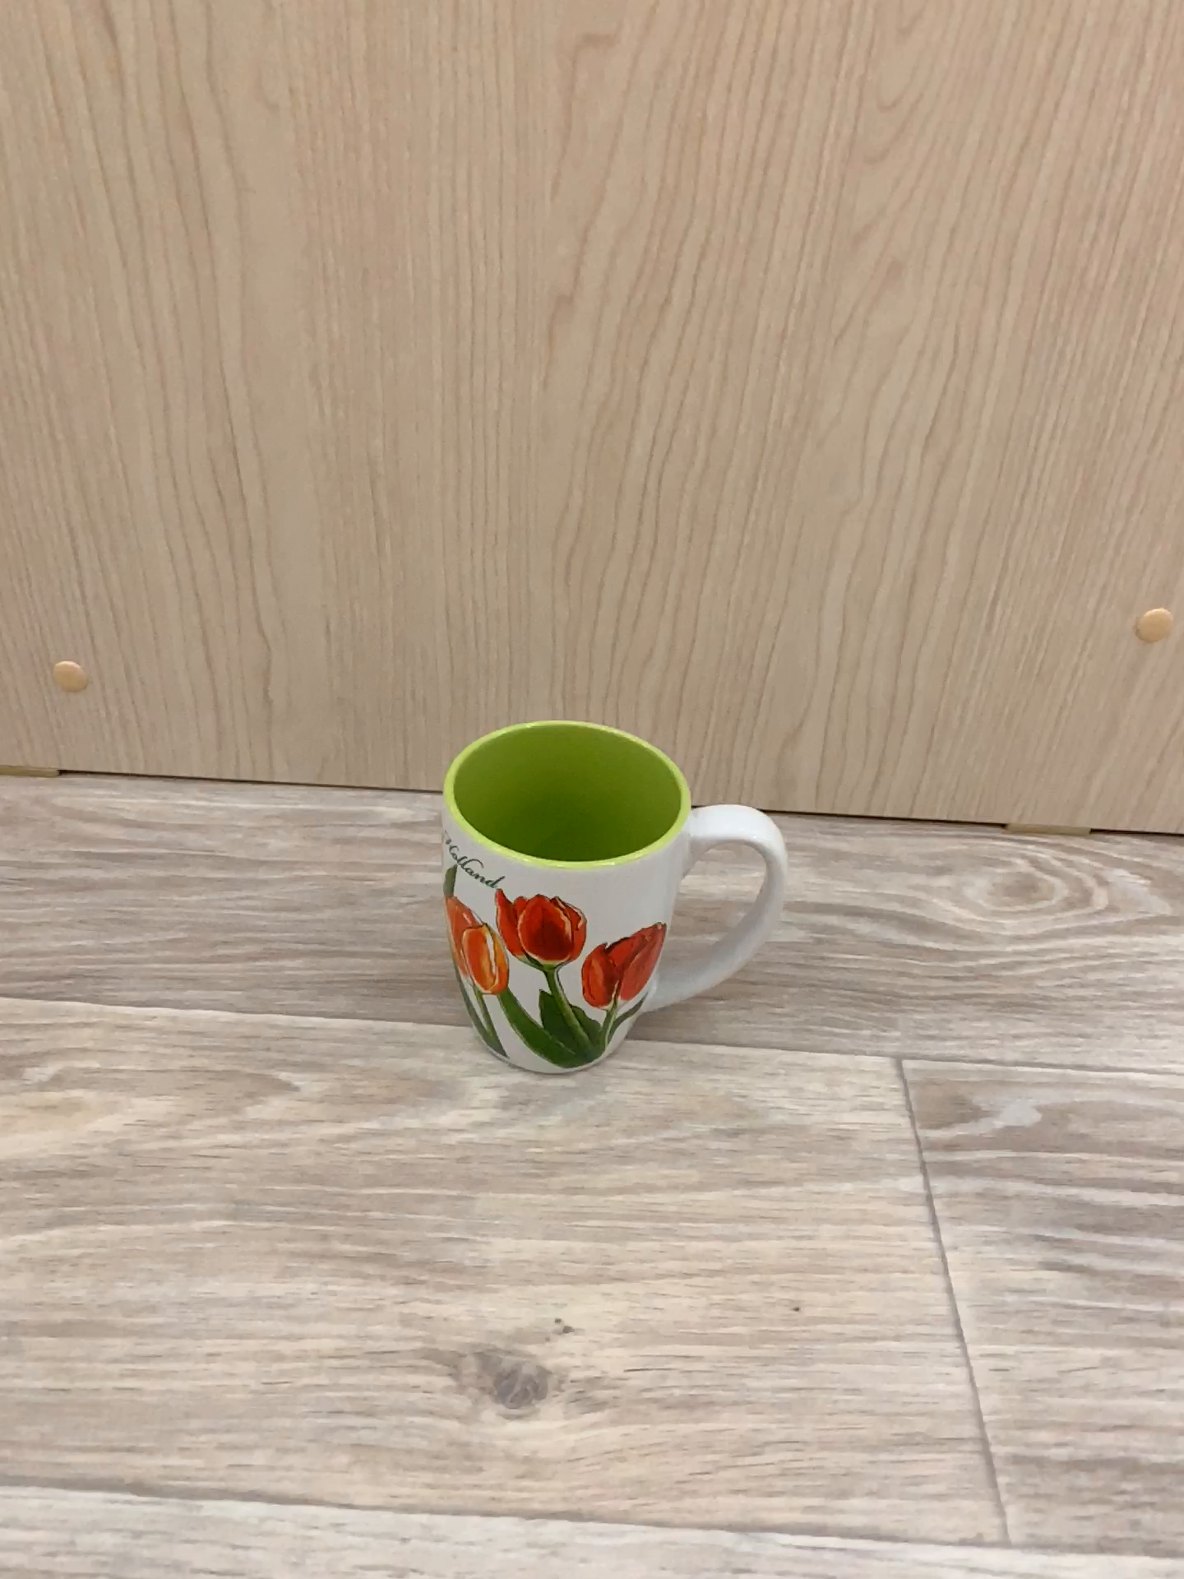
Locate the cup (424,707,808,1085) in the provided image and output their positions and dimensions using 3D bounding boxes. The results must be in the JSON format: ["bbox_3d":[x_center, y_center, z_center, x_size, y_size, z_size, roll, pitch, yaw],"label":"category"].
[{"bbox_3d":[0.000,0.036,0.435,0.118,0.101,0.084,-1,36,-7],"label":"cup"}]
